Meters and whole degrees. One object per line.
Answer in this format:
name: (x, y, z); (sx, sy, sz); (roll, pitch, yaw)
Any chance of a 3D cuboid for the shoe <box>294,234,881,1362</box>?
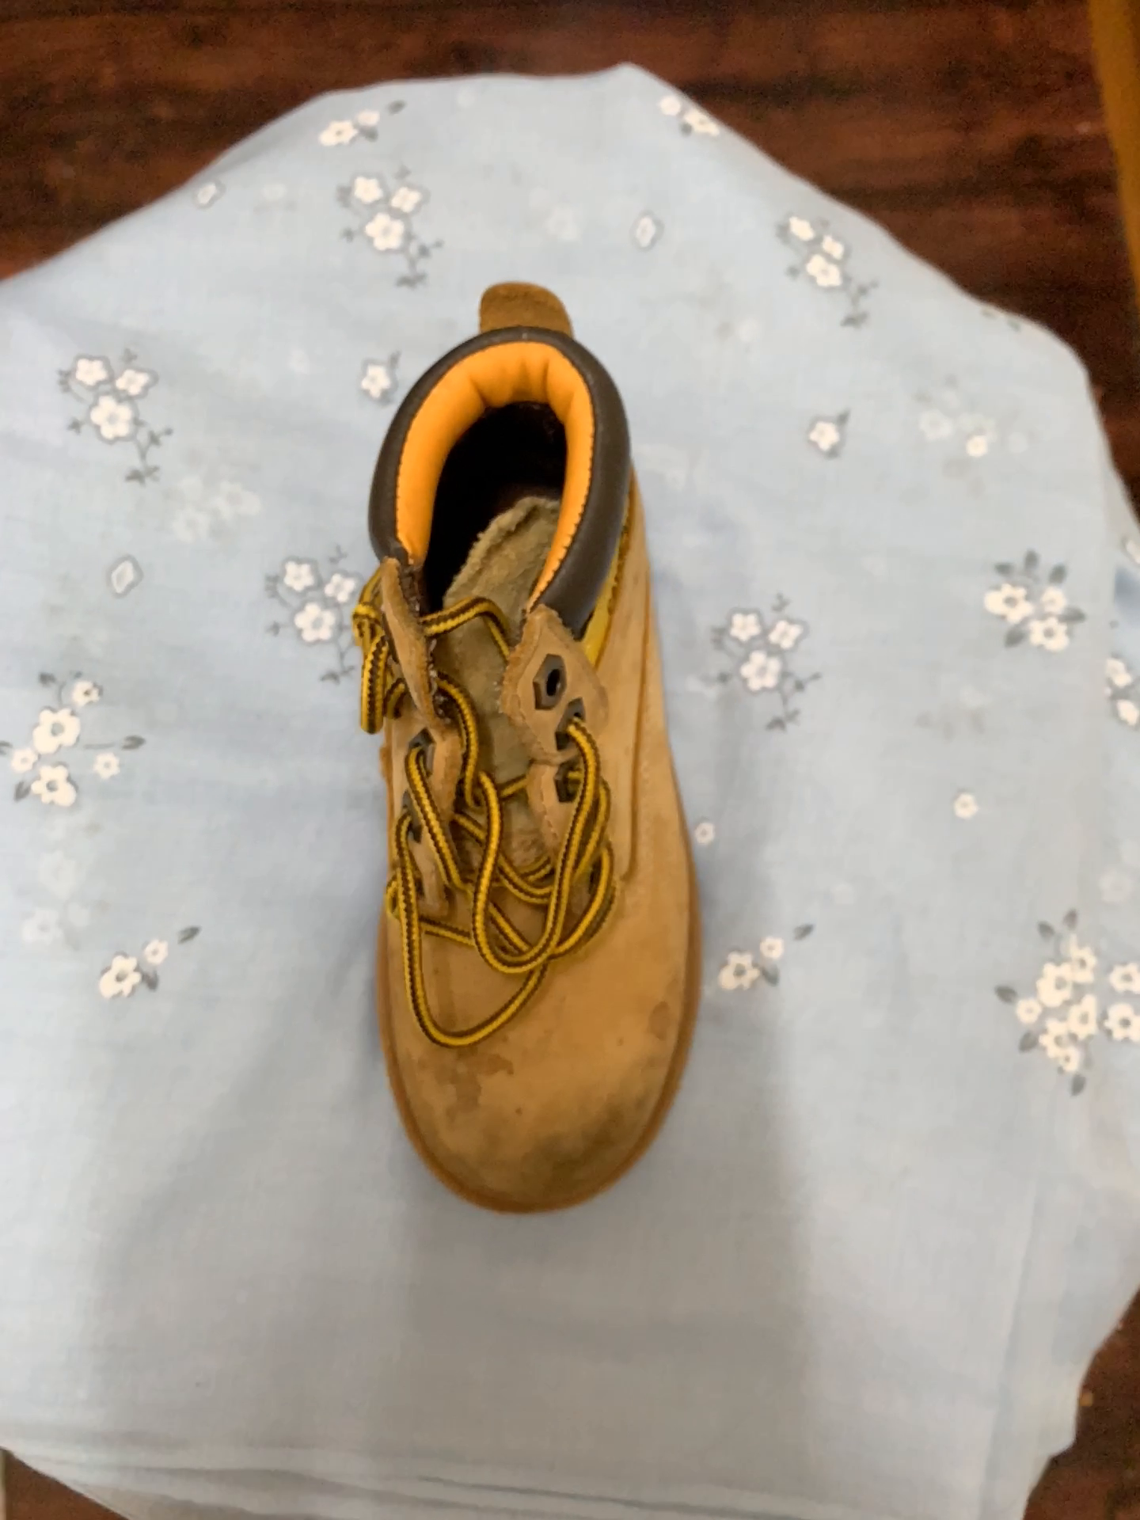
shoe: (-0.004, 0.007, 0.264); (0.095, 0.120, 0.190); (-1, 83, -5)
